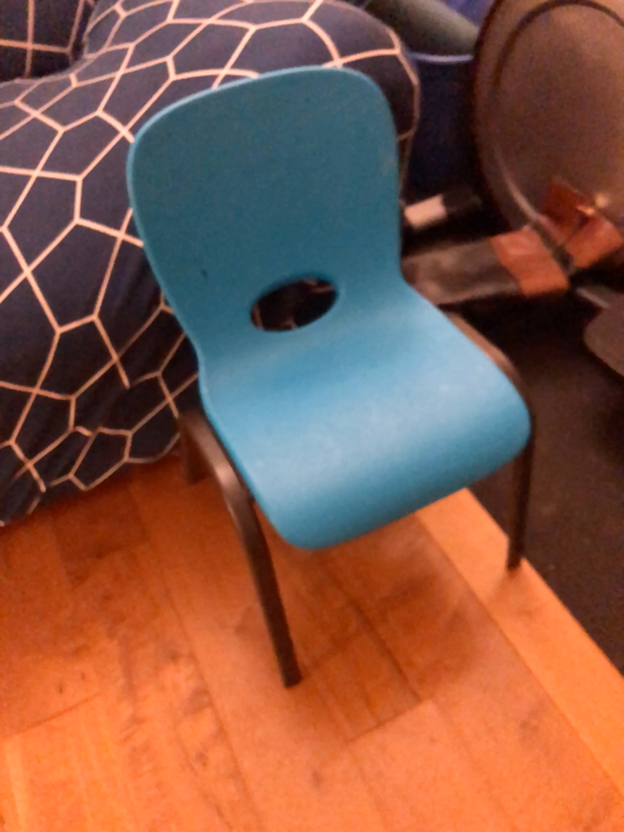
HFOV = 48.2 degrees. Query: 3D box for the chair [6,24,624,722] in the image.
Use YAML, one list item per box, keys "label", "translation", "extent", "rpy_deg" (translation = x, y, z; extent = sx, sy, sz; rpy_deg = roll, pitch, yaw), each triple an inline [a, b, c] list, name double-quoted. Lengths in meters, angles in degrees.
- label: "chair"
  translation: [0.019, -0.046, 0.778]
  extent: [0.430, 0.527, 0.402]
  rpy_deg: [-25, 50, -17]
